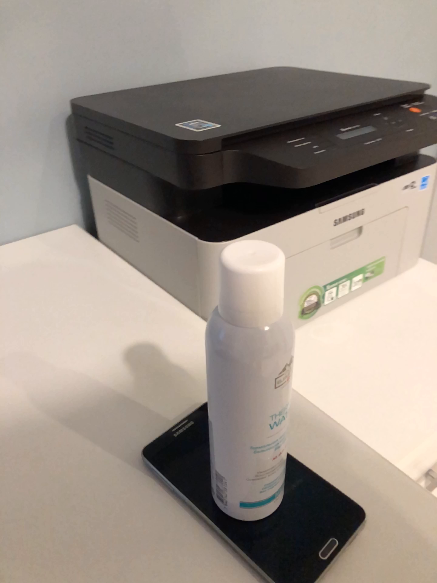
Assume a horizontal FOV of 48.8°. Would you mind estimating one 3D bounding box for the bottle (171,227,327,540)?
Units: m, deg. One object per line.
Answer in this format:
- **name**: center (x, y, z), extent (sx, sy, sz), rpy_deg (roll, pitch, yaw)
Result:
- **bottle**: center (0.018, 0.058, 0.281), extent (0.059, 0.175, 0.054), rpy_deg (-1, 32, 1)
